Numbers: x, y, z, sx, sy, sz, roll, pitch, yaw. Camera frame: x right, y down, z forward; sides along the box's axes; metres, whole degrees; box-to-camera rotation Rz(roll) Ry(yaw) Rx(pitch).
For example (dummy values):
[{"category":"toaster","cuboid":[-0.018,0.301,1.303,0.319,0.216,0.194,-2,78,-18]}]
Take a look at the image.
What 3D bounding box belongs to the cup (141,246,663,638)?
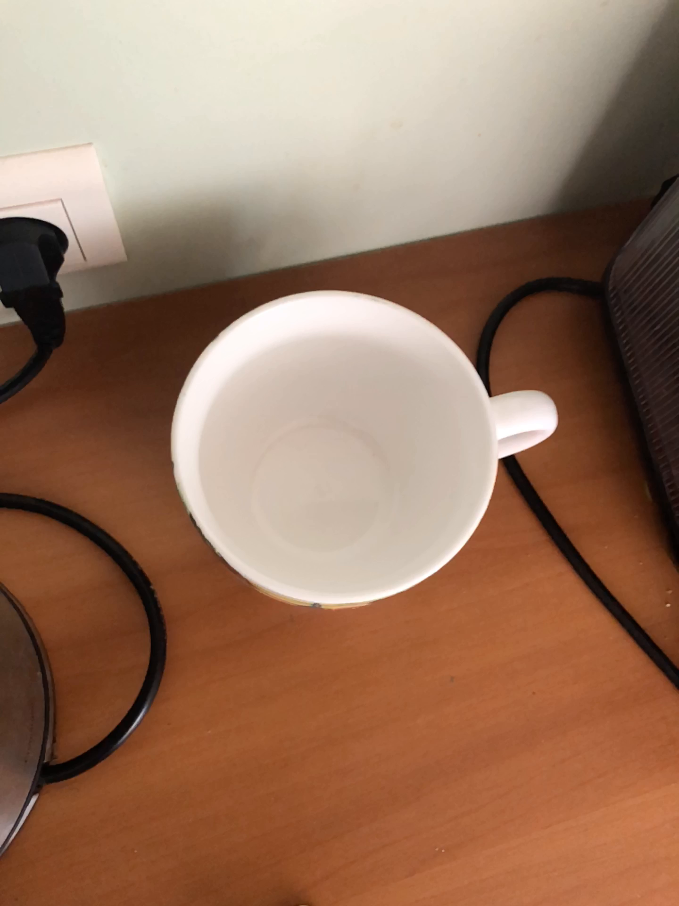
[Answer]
[{"category":"cup","cuboid":[0.018,-0.004,0.306,0.170,0.070,0.120,-8,73,-9]}]
